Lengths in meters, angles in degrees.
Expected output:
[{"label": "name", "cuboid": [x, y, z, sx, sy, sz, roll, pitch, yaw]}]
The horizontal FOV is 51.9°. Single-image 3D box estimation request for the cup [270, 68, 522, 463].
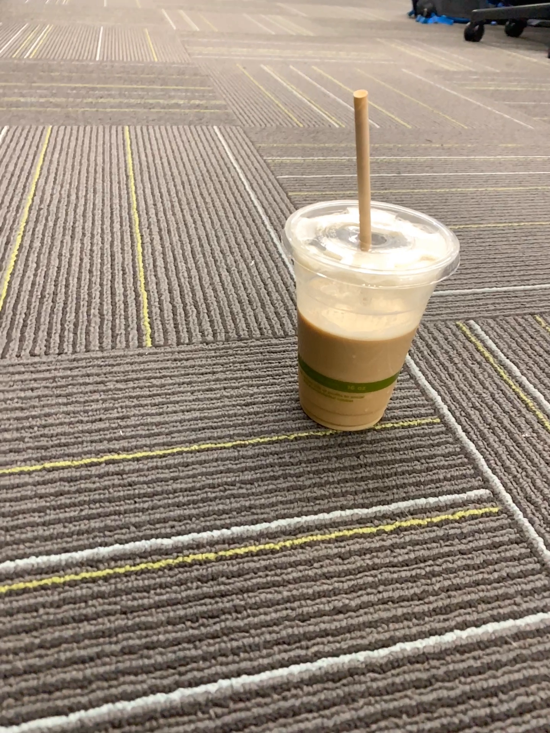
[{"label": "cup", "cuboid": [0.052, -0.051, 0.316, 0.090, 0.189, 0.091, 2, 36, -2]}]
